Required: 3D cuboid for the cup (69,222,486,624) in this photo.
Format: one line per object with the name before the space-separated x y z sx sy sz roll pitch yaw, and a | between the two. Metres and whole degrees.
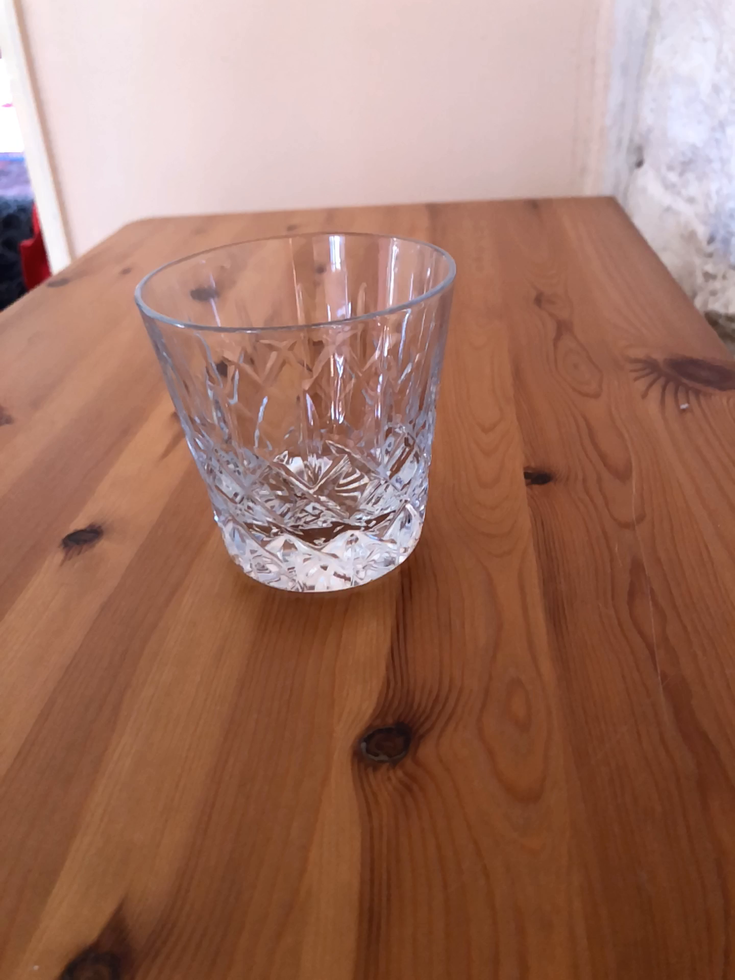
cup | -0.011 -0.020 0.202 0.076 0.068 0.078 -4 30 2
